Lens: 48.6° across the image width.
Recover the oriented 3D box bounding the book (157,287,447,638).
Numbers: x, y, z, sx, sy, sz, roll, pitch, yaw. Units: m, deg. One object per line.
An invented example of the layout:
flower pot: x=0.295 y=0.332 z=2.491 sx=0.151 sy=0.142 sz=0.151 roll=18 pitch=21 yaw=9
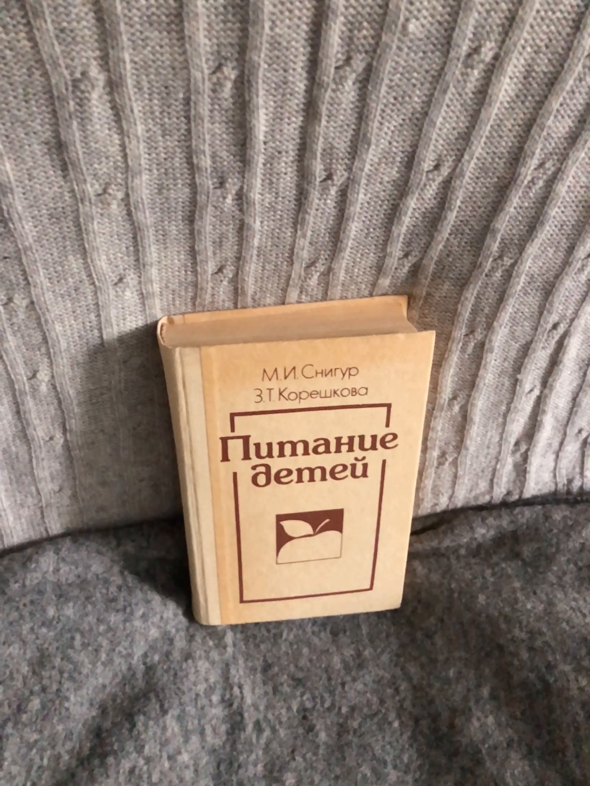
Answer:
book: x=0.004 y=0.050 z=0.385 sx=0.139 sy=0.212 sz=0.042 roll=-6 pitch=34 yaw=-7
